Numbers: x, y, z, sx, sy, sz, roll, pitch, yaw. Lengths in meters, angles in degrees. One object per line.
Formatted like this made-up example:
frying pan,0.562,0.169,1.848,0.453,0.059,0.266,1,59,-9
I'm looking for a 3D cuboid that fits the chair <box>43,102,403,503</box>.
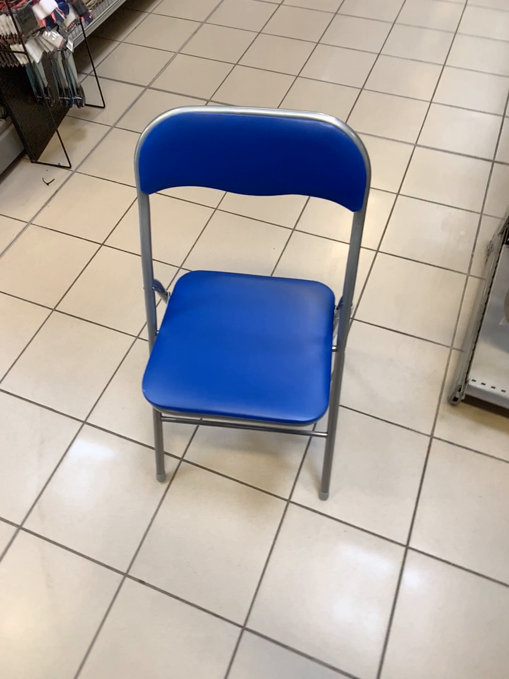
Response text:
chair,-0.011,-0.033,1.099,0.478,0.664,0.526,4,57,5
